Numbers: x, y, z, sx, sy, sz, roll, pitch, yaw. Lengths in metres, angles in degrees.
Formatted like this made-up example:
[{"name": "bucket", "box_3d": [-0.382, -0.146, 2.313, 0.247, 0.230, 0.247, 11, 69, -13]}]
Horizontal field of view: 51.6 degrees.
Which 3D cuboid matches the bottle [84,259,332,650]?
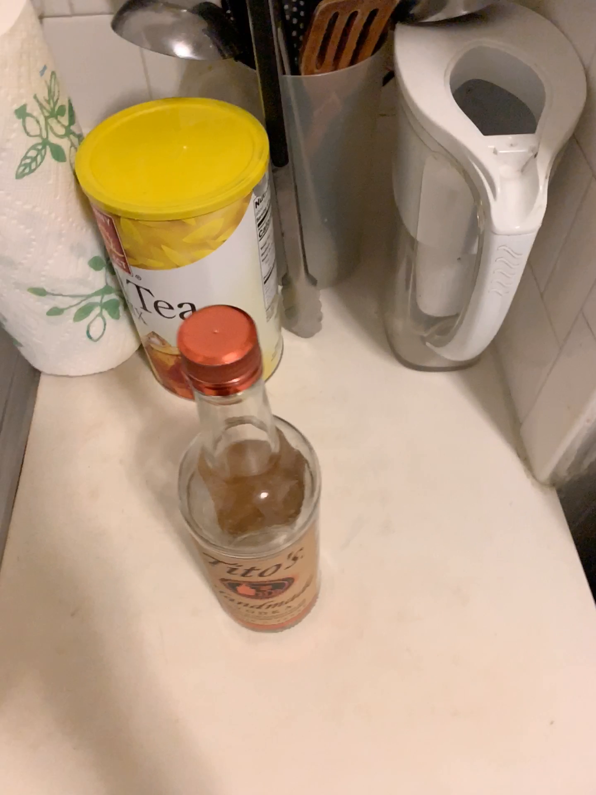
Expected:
[{"name": "bottle", "box_3d": [-0.027, 0.061, 0.347, 0.080, 0.289, 0.080, -1, 55, 1]}]
